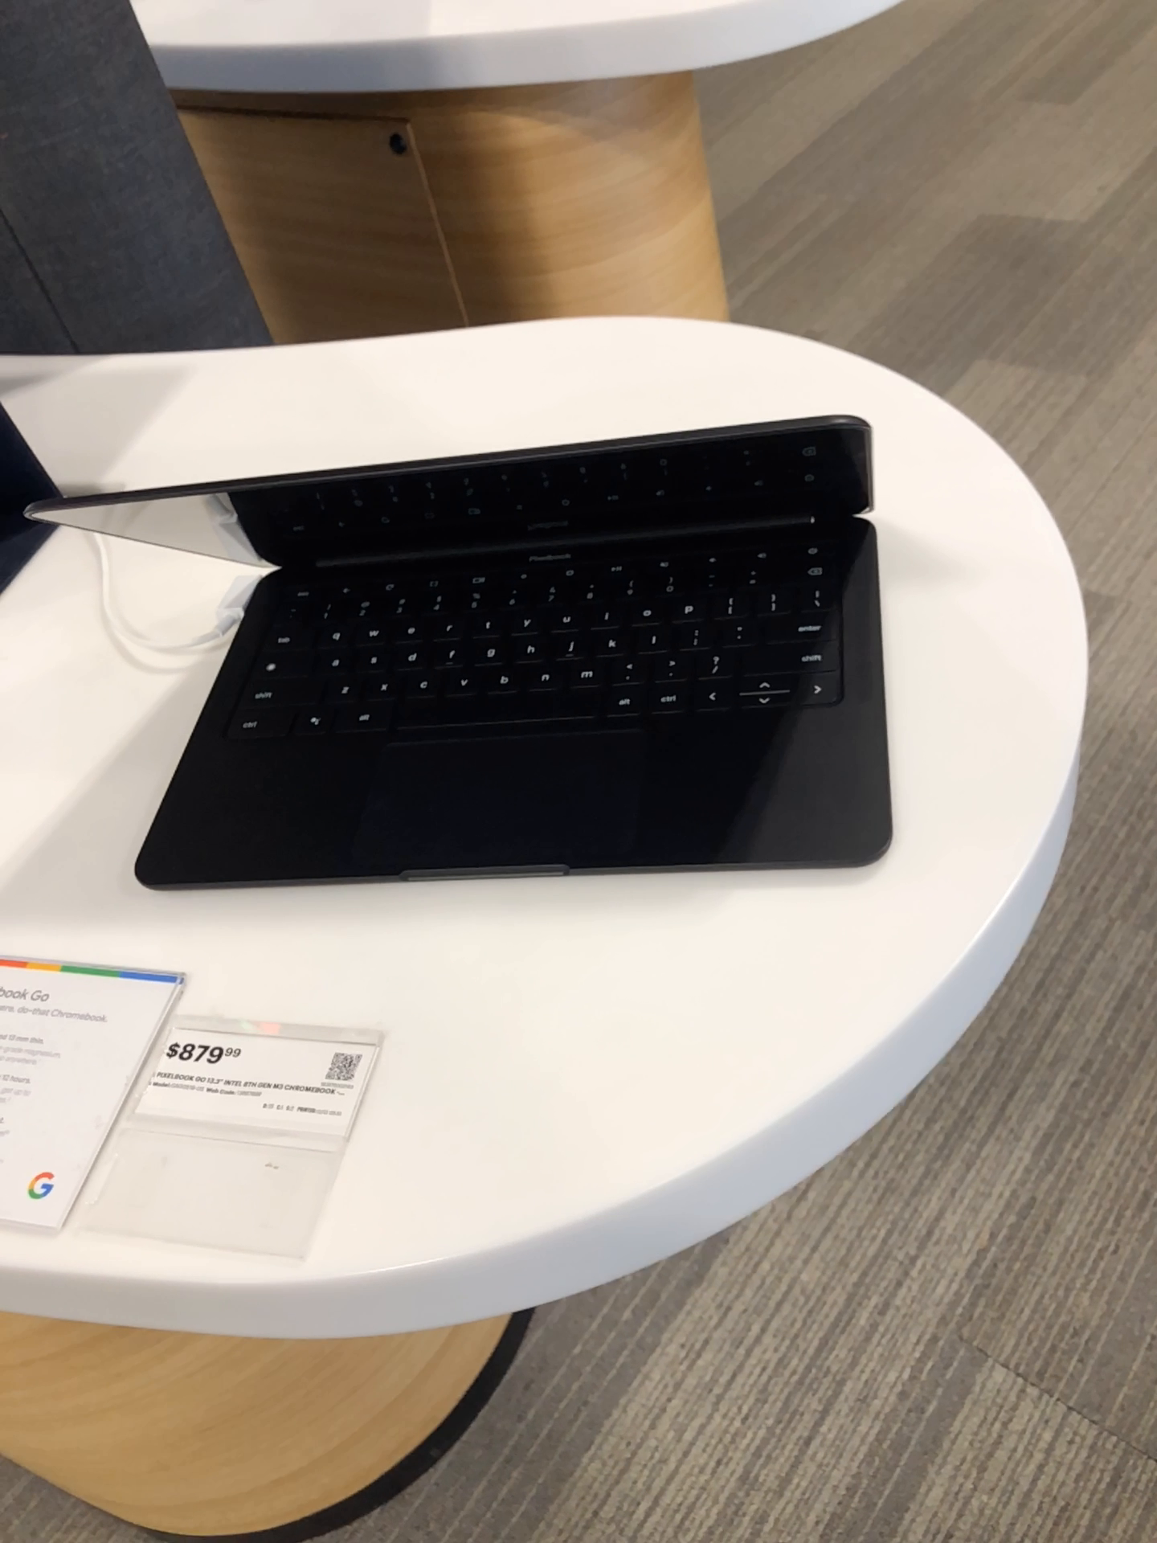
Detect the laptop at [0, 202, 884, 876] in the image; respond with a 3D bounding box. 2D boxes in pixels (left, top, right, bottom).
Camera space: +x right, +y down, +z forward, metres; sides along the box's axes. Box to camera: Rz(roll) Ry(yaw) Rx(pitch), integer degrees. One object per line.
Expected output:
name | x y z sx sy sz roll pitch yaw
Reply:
laptop | -0.031 -0.087 0.490 0.278 0.146 0.192 -3 46 11
